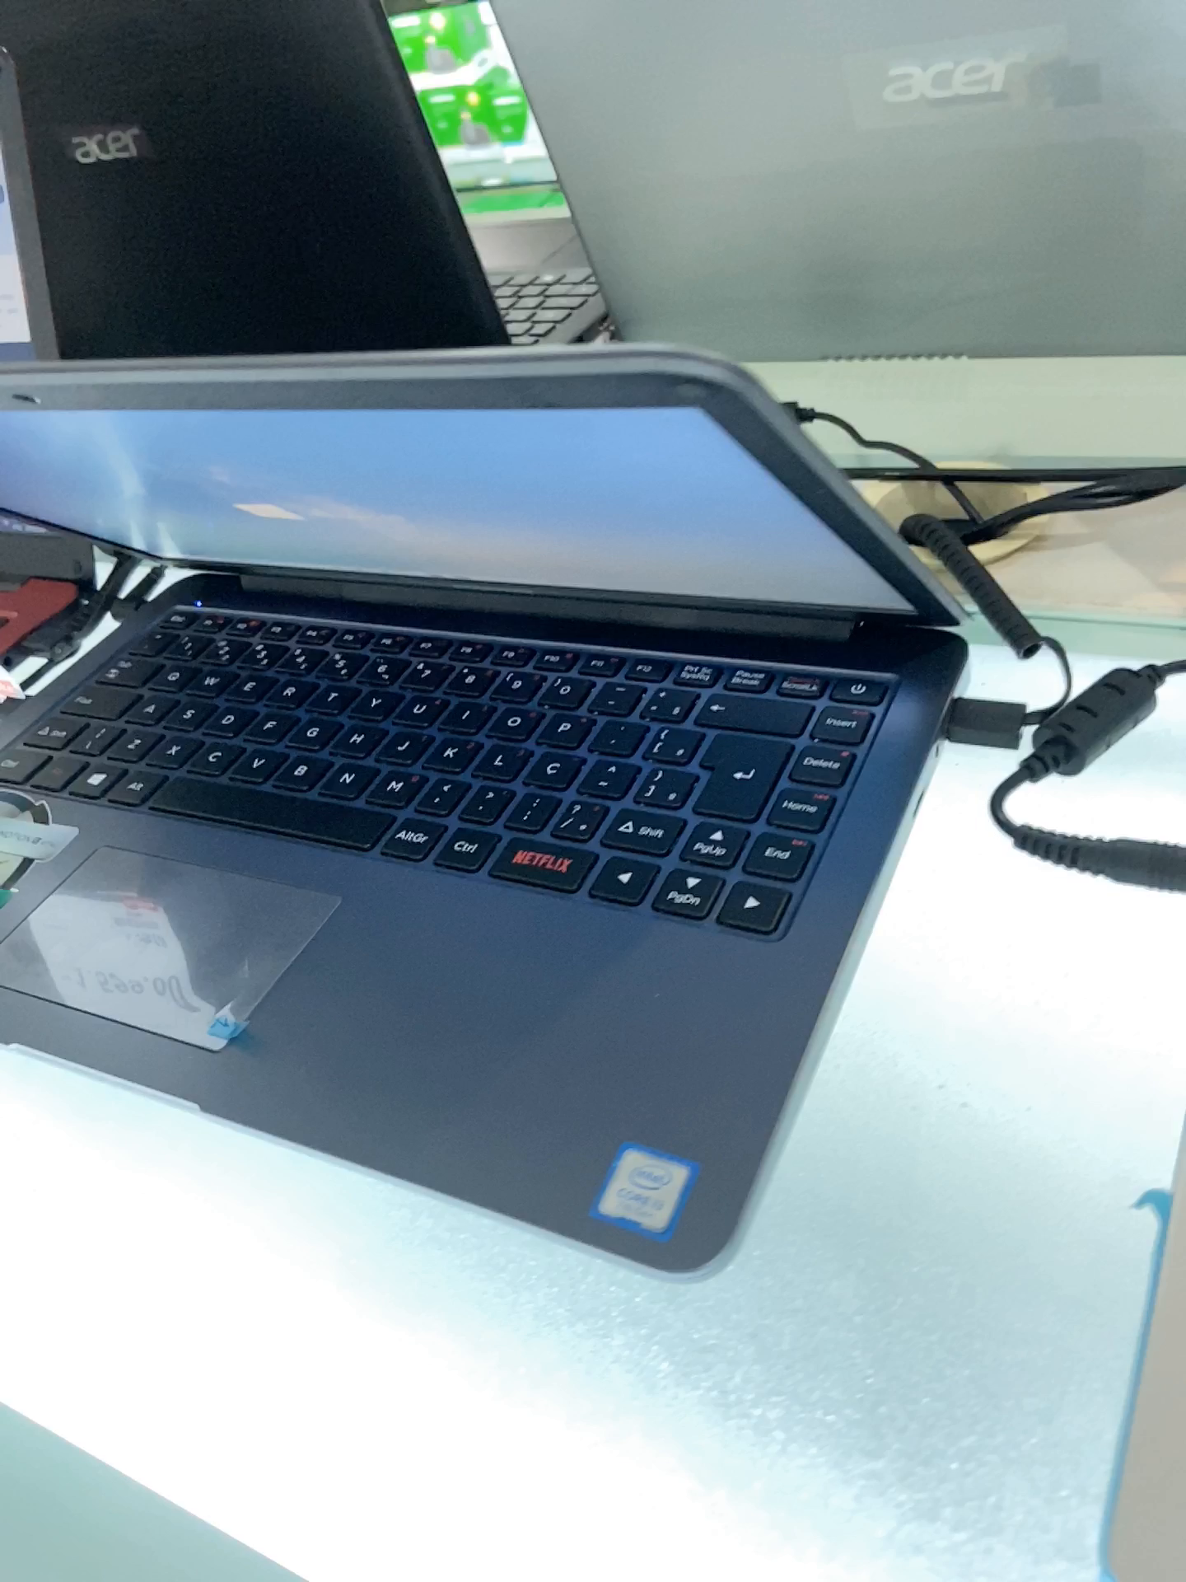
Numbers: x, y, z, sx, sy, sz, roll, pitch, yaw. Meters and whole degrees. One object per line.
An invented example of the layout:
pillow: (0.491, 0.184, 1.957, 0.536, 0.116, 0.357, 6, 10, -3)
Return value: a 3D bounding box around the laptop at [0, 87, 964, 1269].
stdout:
laptop: (-0.090, -0.055, 0.323, 0.317, 0.145, 0.211, 9, 44, 28)
